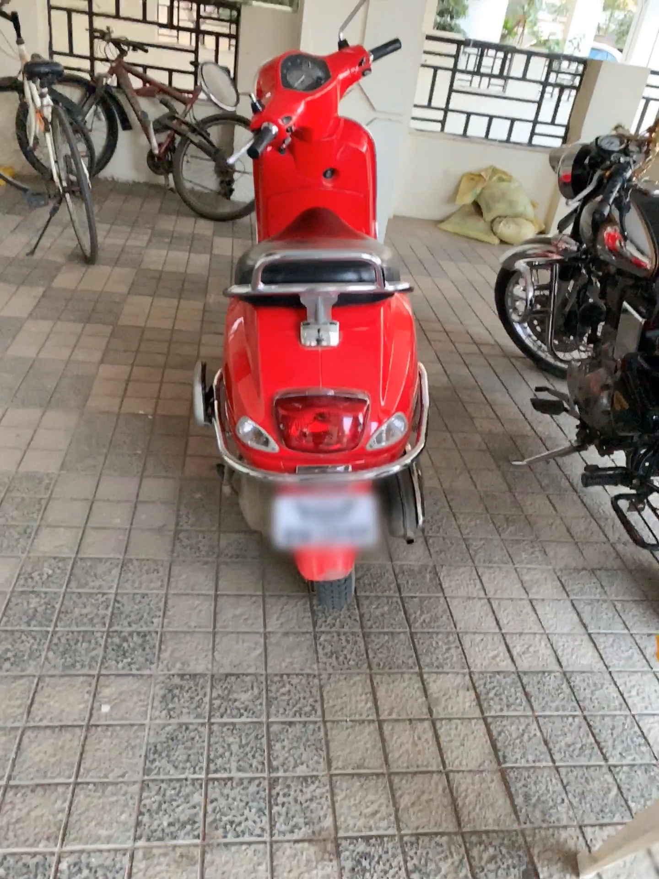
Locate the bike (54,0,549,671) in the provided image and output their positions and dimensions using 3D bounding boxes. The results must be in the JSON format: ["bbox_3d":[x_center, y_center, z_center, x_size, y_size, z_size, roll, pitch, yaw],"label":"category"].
[{"bbox_3d":[-0.258,-0.441,1.879,0.681,1.261,1.555,1,33,-13],"label":"bike"}]
